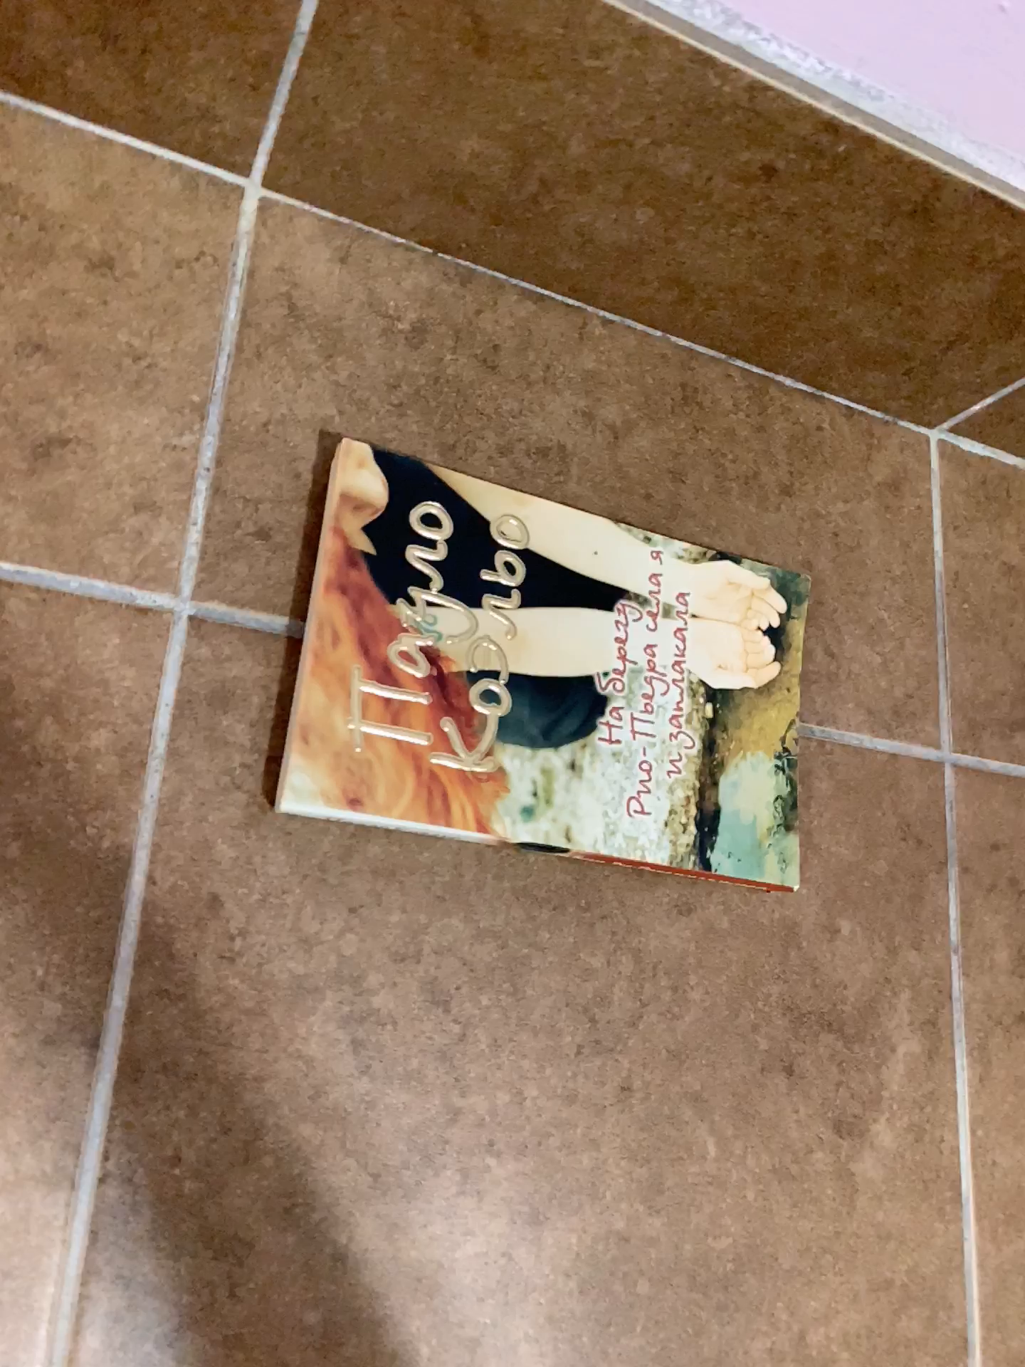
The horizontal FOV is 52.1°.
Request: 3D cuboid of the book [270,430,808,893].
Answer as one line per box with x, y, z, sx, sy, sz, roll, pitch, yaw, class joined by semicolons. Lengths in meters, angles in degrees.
0.020;-0.002;0.350;0.181;0.016;0.119;12;73;-22;book
